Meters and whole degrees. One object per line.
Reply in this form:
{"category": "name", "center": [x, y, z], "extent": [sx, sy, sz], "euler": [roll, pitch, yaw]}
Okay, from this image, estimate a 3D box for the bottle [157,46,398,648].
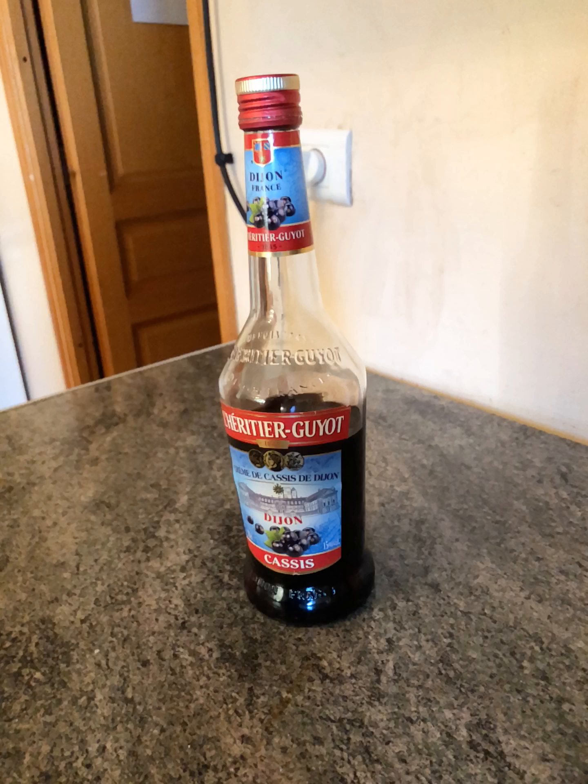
{"category": "bottle", "center": [0.006, -0.016, 0.361], "extent": [0.090, 0.299, 0.091], "euler": [-3, 21, 1]}
